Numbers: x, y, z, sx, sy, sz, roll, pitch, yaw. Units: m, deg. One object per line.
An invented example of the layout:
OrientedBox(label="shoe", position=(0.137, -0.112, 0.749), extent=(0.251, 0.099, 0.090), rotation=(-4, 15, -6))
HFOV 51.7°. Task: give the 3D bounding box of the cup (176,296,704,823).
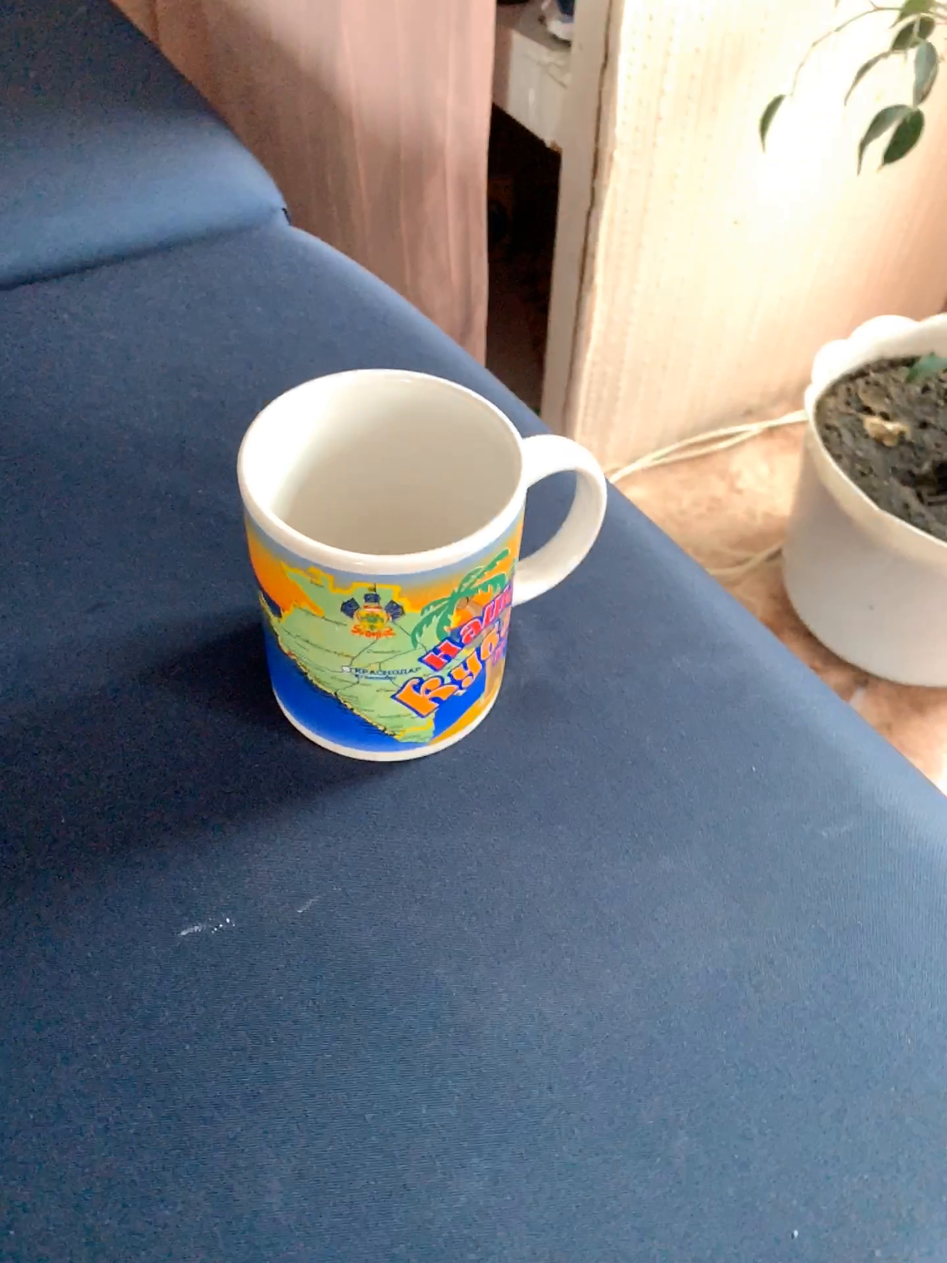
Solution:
OrientedBox(label="cup", position=(-0.011, -0.025, 0.314), extent=(0.120, 0.099, 0.090), rotation=(-24, 56, -19))
